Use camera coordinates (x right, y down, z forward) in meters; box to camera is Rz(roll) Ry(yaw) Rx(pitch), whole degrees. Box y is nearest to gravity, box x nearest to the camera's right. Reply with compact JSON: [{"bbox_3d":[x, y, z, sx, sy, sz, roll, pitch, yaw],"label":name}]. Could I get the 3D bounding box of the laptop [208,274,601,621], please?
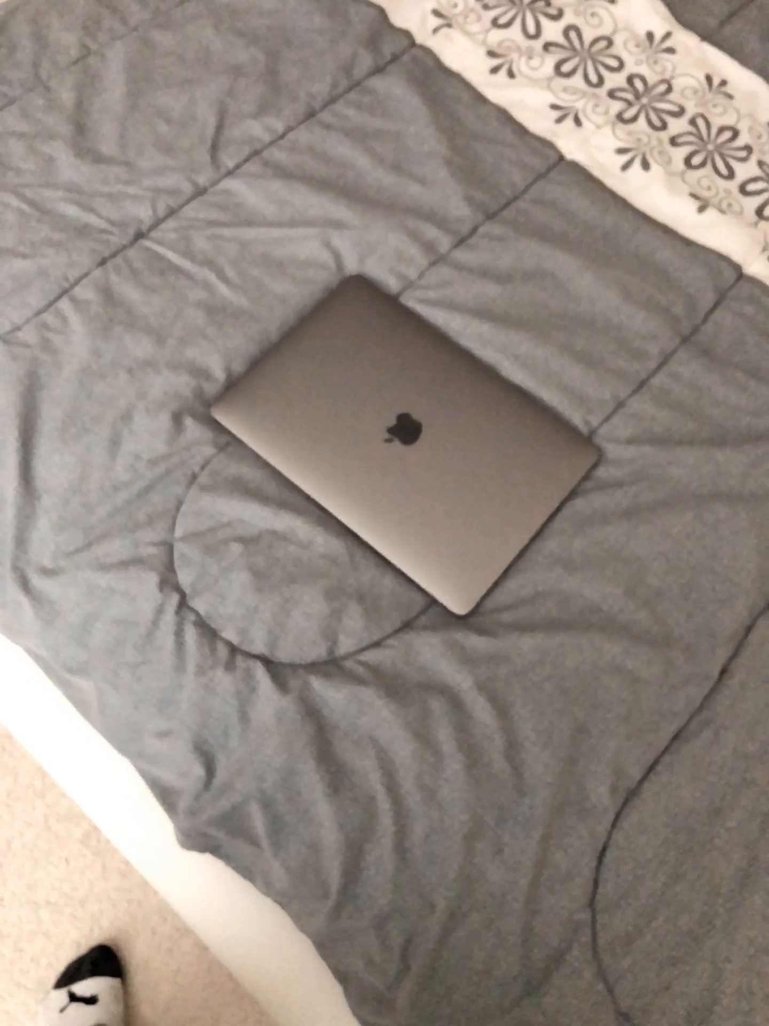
[{"bbox_3d":[0.018,-0.072,0.789,0.295,0.008,0.207,38,72,13],"label":"laptop"}]
